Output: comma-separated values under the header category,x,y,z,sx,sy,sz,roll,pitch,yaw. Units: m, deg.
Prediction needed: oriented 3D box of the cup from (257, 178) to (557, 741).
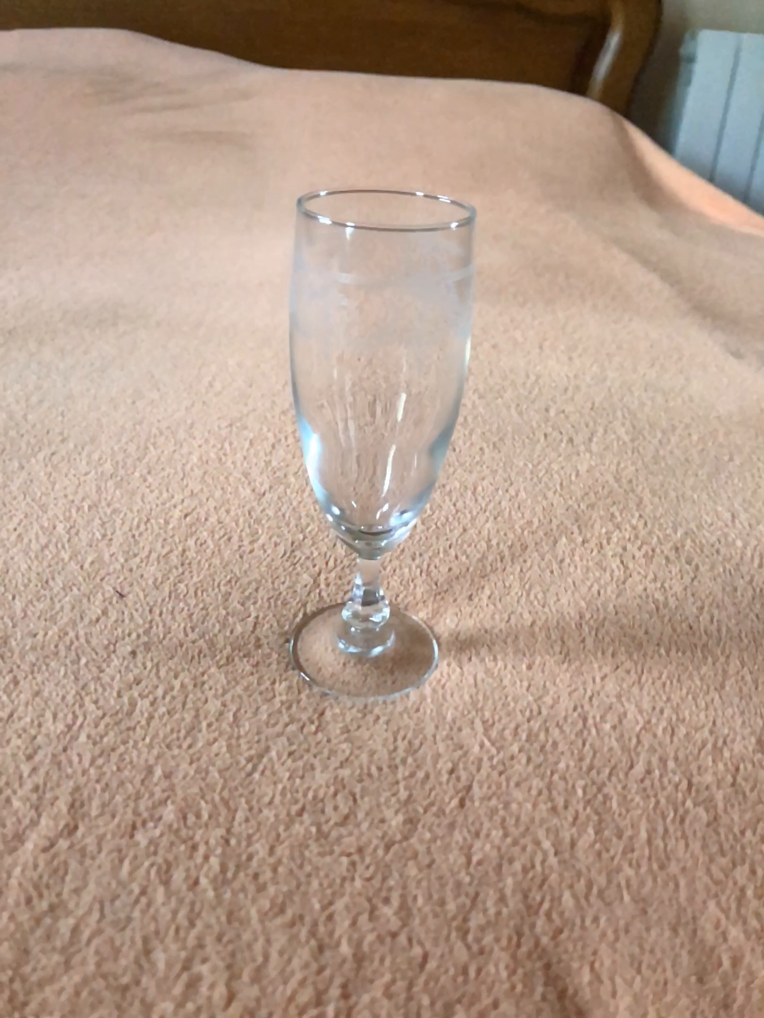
category,x,y,z,sx,sy,sz,roll,pitch,yaw
cup,0.003,-0.016,0.272,0.060,0.159,0.060,3,28,-2
